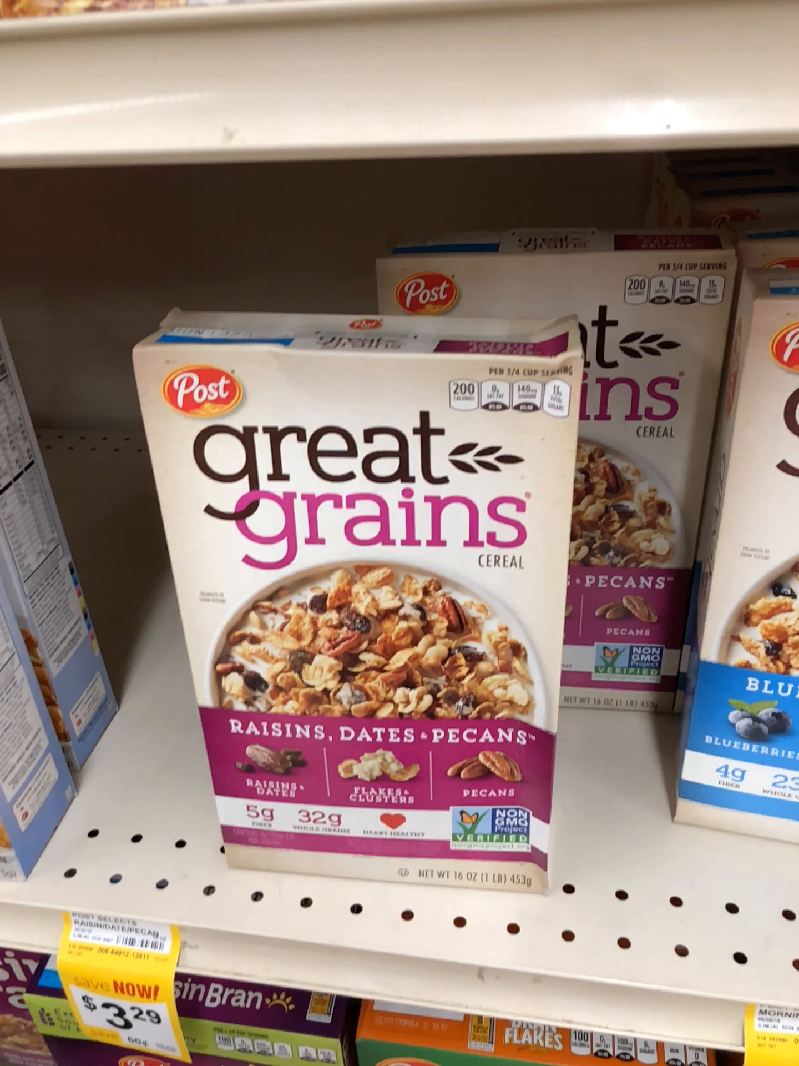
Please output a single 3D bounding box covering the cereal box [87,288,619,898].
[{"bbox_3d":[-0.009,0.039,0.371,0.170,0.269,0.050,2,32,8],"label":"cereal box"}]
